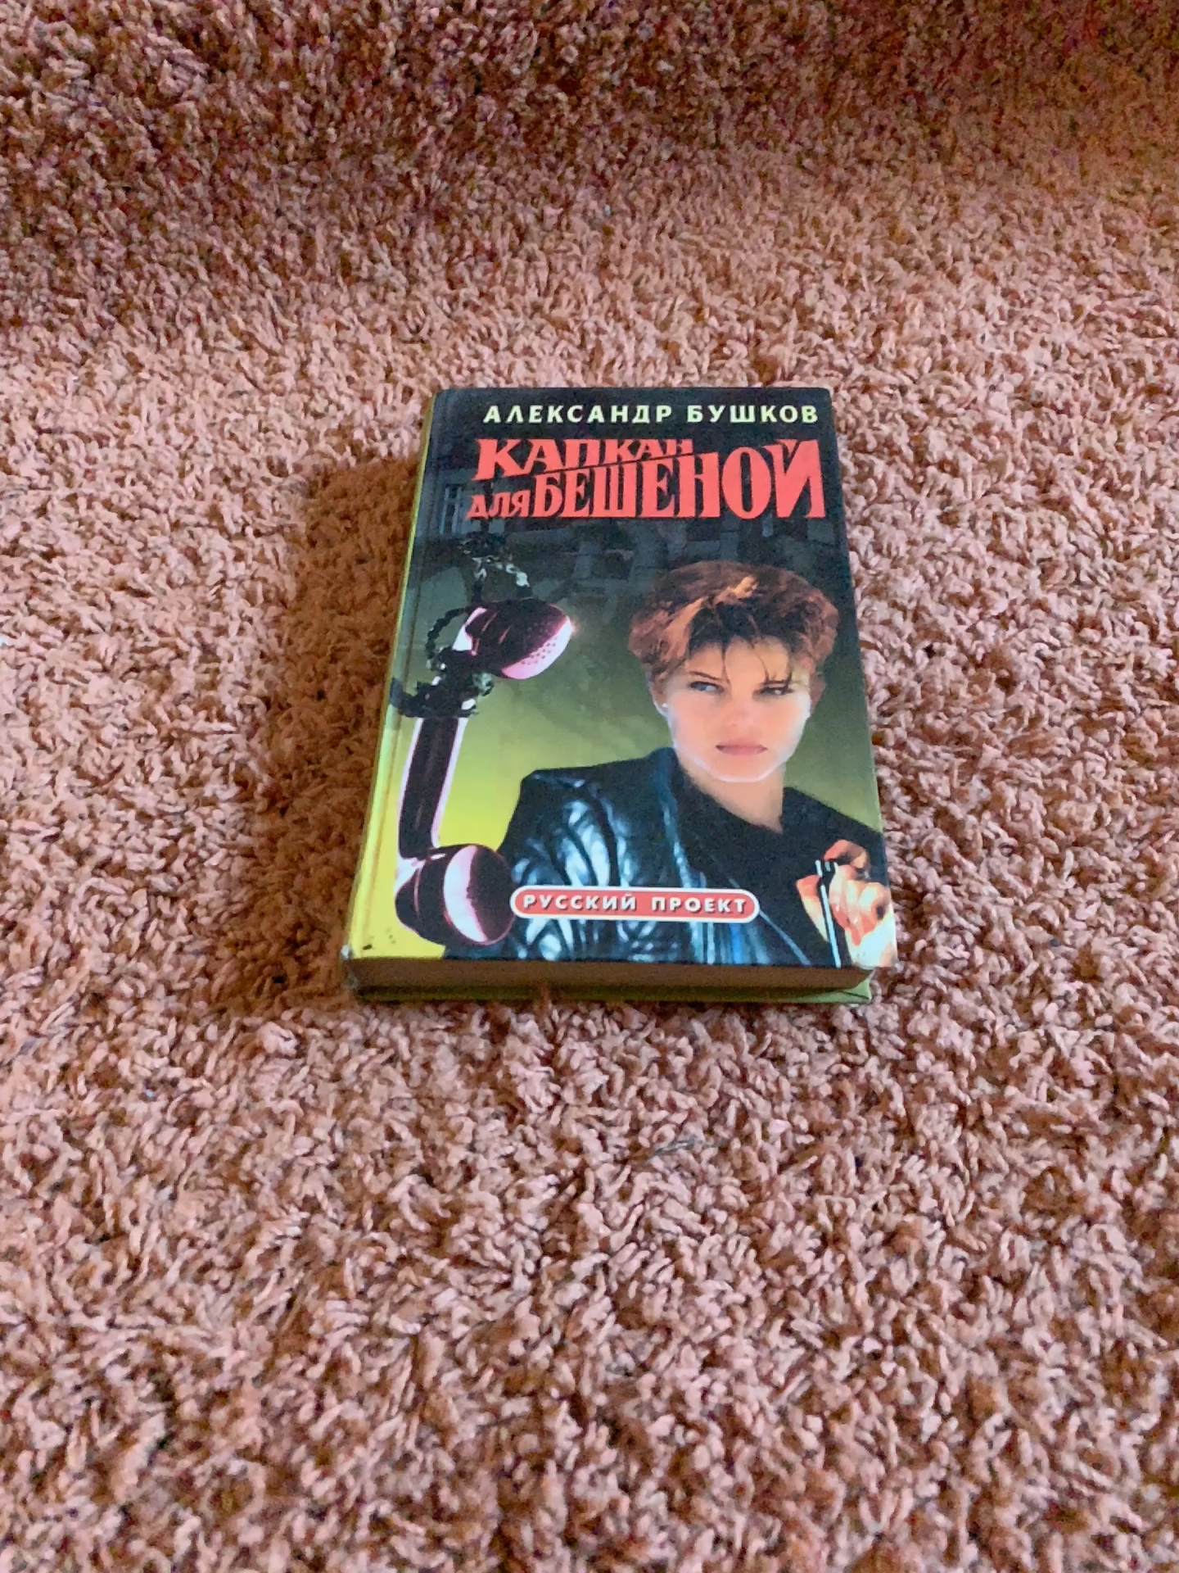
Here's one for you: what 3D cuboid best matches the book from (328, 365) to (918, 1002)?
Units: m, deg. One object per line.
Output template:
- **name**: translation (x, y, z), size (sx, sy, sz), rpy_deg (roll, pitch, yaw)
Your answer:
- **book**: translation (0.010, -0.038, 0.320), size (0.124, 0.027, 0.191), rpy_deg (0, 56, 2)
